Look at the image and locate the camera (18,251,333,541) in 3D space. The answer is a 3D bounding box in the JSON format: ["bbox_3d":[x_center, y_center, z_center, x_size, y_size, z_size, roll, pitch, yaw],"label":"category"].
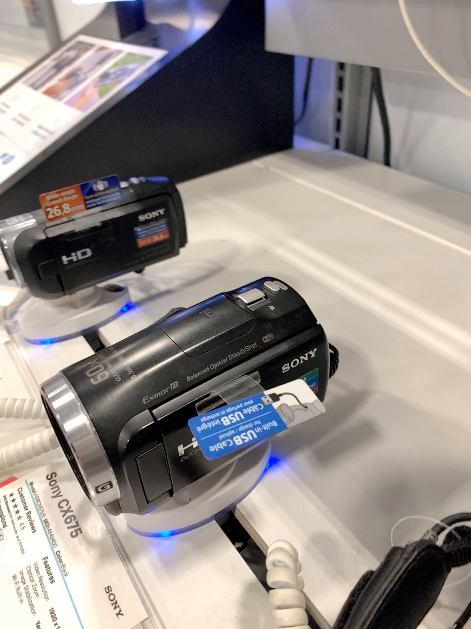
[{"bbox_3d":[-0.020,0.028,0.211,0.113,0.060,0.054,-25,41,-26],"label":"camera"}]
